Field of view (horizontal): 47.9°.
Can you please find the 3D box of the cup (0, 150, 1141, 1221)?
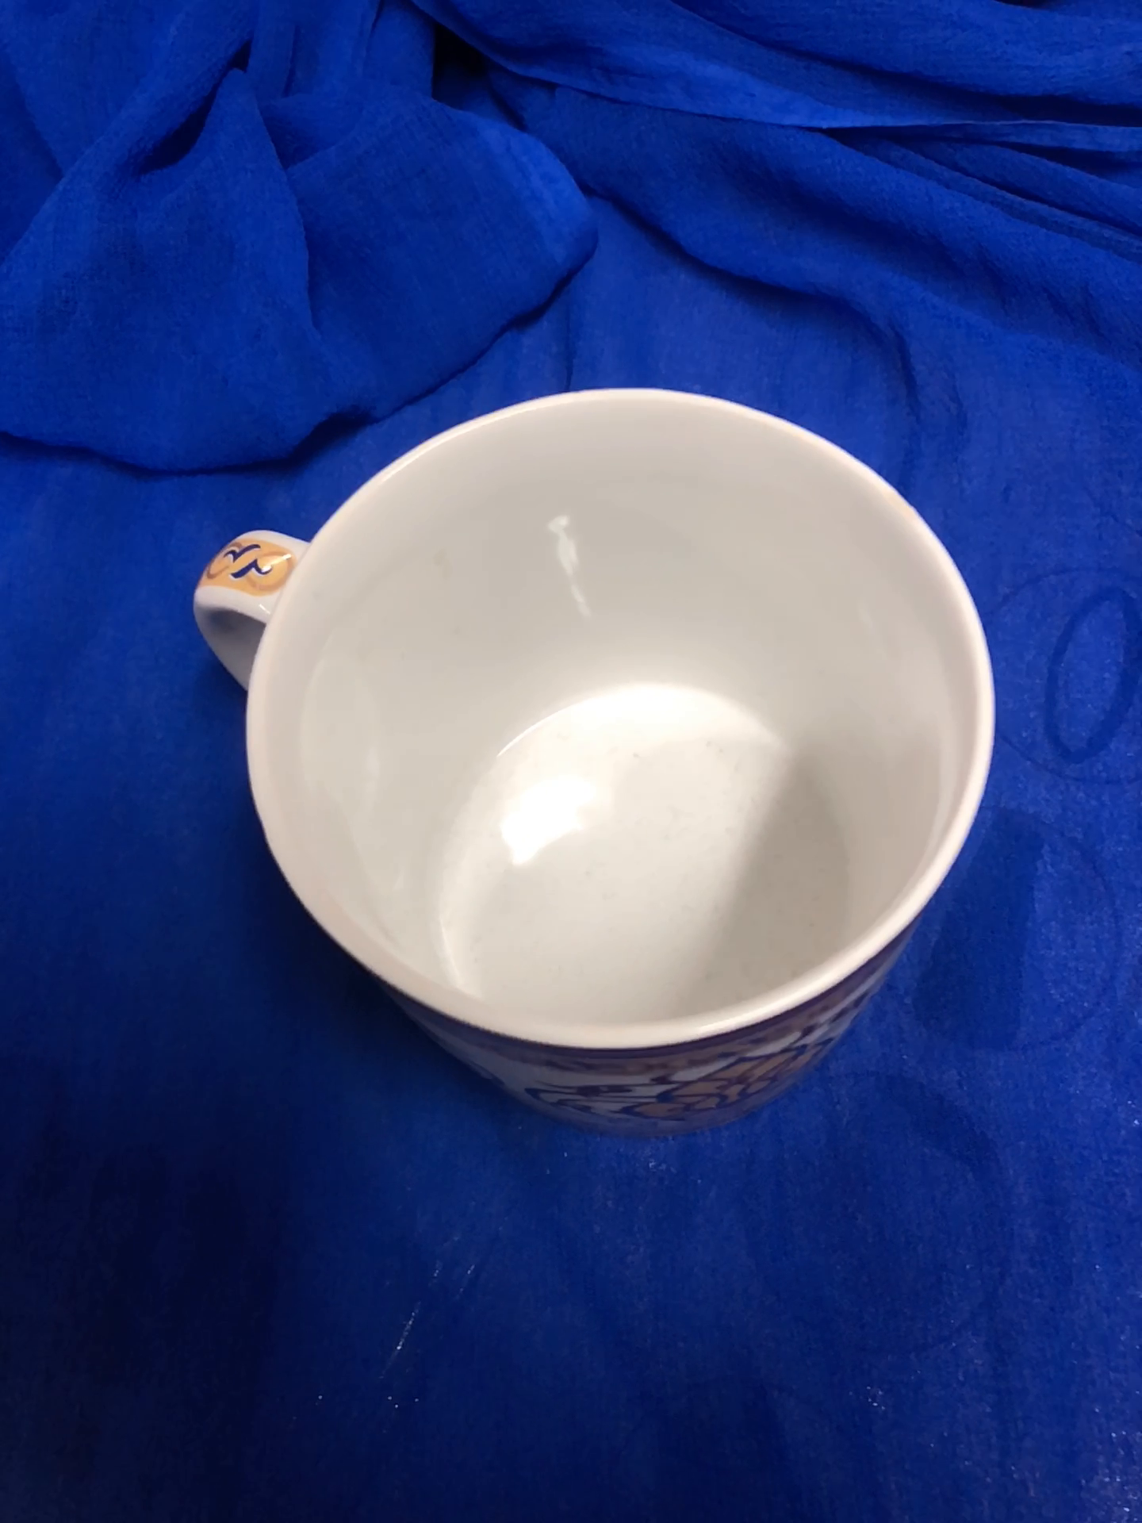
[{"bbox_3d":[-0.002,-0.004,0.173,0.110,0.080,0.080,27,72,12],"label":"cup"}]
